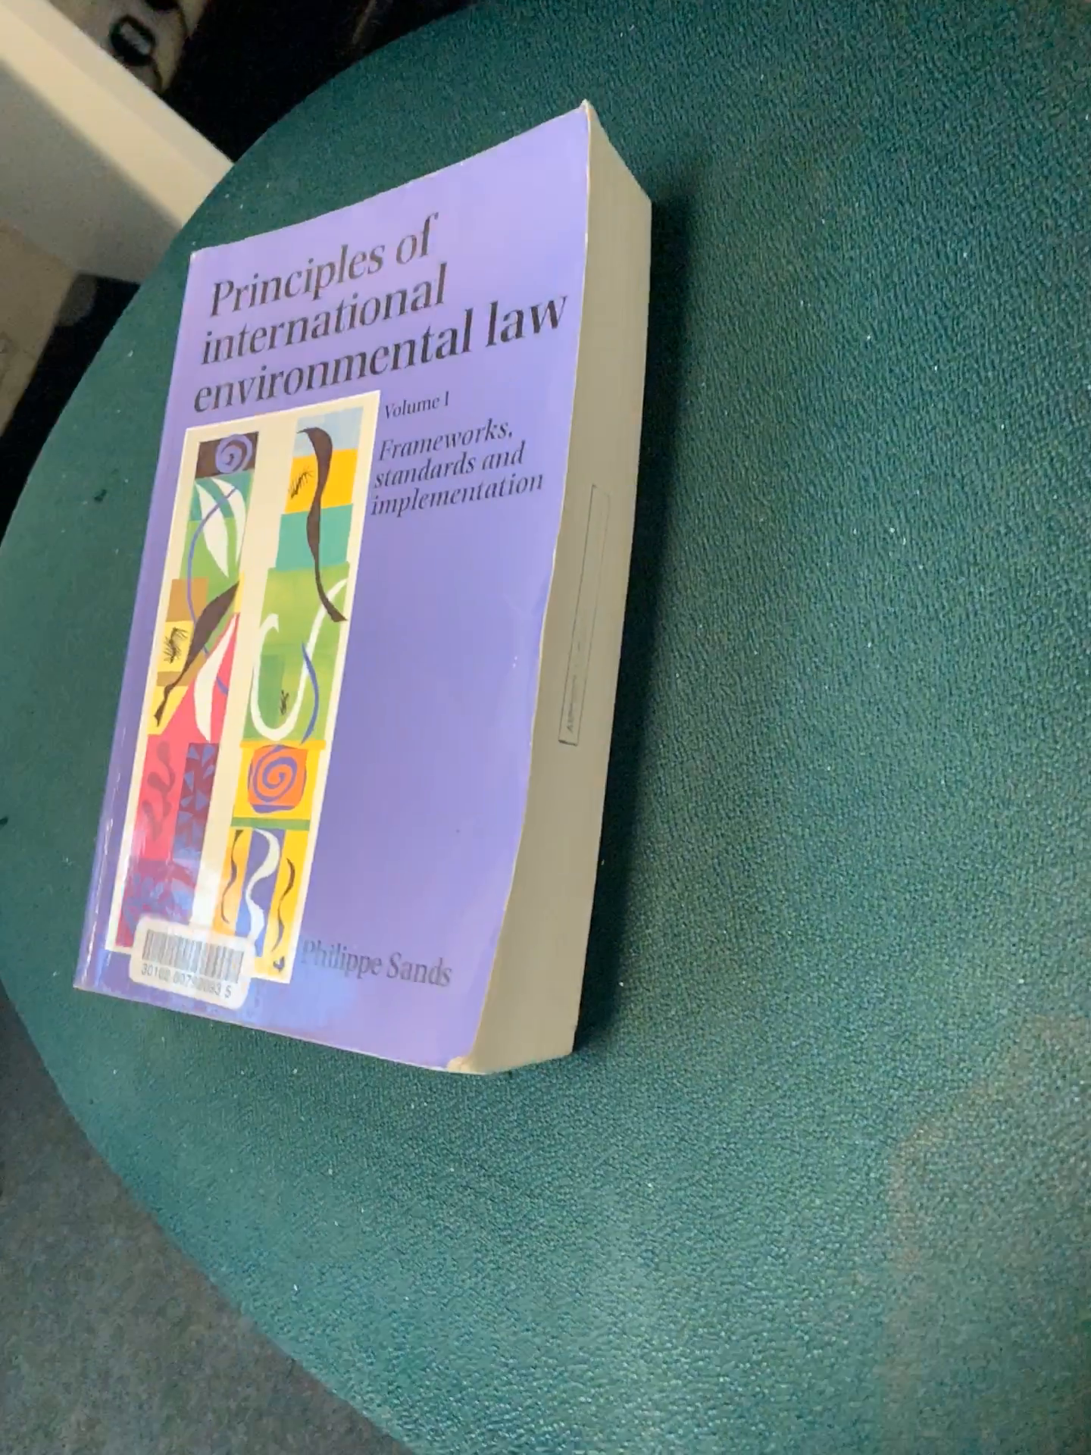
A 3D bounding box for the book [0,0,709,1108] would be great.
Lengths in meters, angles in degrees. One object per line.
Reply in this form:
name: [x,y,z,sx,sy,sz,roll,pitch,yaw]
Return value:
book: [-0.056,-0.048,0.324,0.181,0.050,0.270,-1,76,34]
